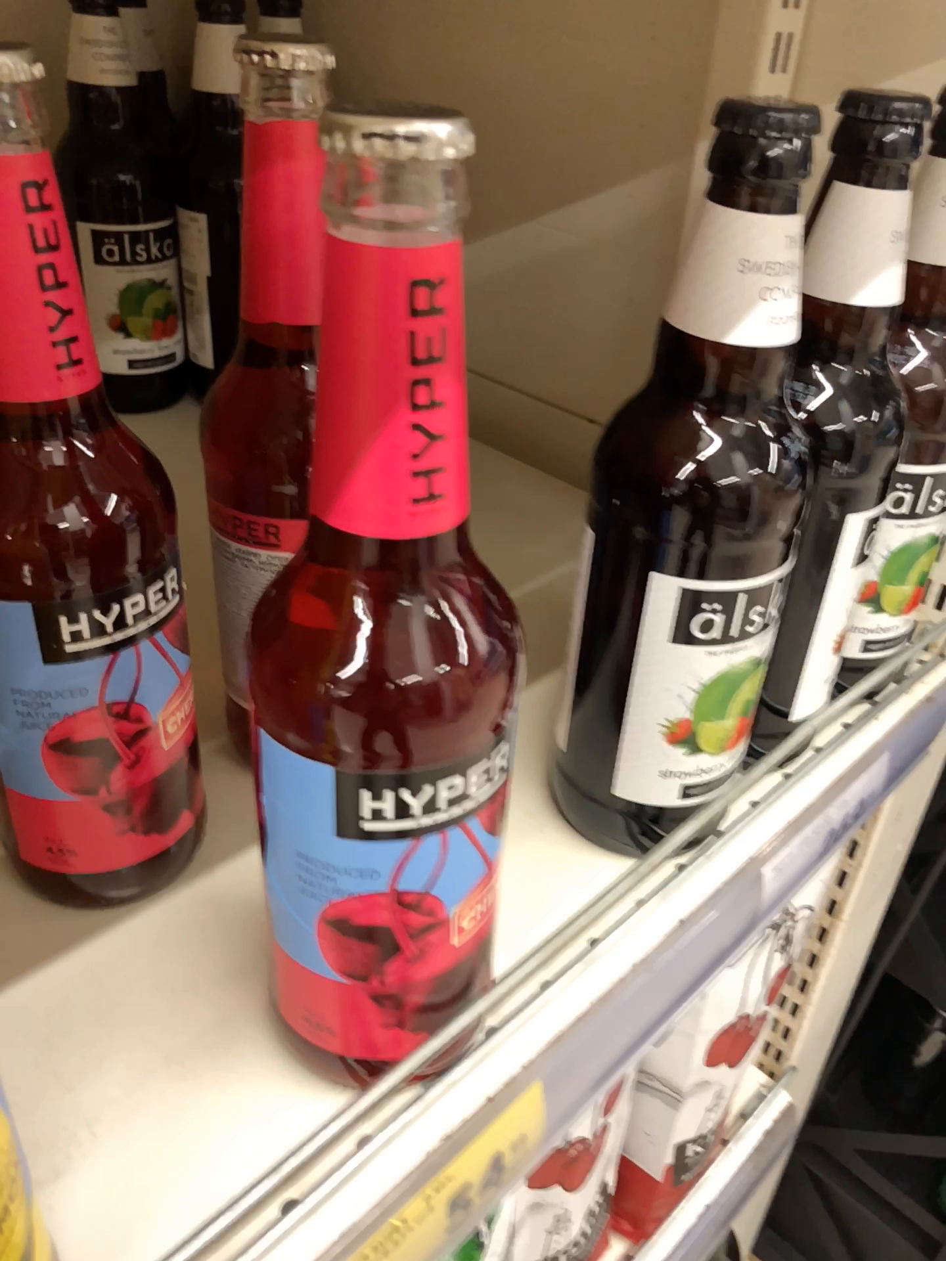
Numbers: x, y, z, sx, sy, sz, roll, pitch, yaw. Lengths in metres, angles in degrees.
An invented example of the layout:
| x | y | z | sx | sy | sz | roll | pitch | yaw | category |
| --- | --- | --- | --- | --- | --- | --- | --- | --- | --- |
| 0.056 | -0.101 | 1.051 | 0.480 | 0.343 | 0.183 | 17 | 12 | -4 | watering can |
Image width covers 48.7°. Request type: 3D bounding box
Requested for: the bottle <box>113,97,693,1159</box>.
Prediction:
| x | y | z | sx | sy | sz | roll | pitch | yaw | category |
| --- | --- | --- | --- | --- | --- | --- | --- | --- | --- |
| -0.021 | 0.010 | 0.255 | 0.080 | 0.243 | 0.070 | -18 | 39 | -31 | bottle |
